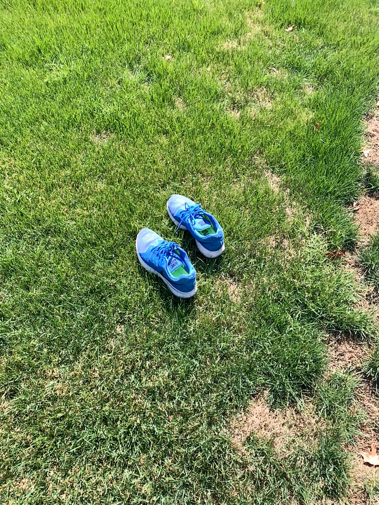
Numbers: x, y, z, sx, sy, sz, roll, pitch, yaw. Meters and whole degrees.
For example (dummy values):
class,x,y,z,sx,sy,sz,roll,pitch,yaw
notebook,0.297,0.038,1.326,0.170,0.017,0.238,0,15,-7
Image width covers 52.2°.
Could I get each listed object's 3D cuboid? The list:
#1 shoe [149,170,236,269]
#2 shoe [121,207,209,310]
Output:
class,x,y,z,sx,sy,sz,roll,pitch,yaw
shoe,0.005,-0.113,1.295,0.130,0.140,0.291,-33,64,-18
shoe,-0.078,0.014,1.210,0.120,0.120,0.291,-33,64,-18
